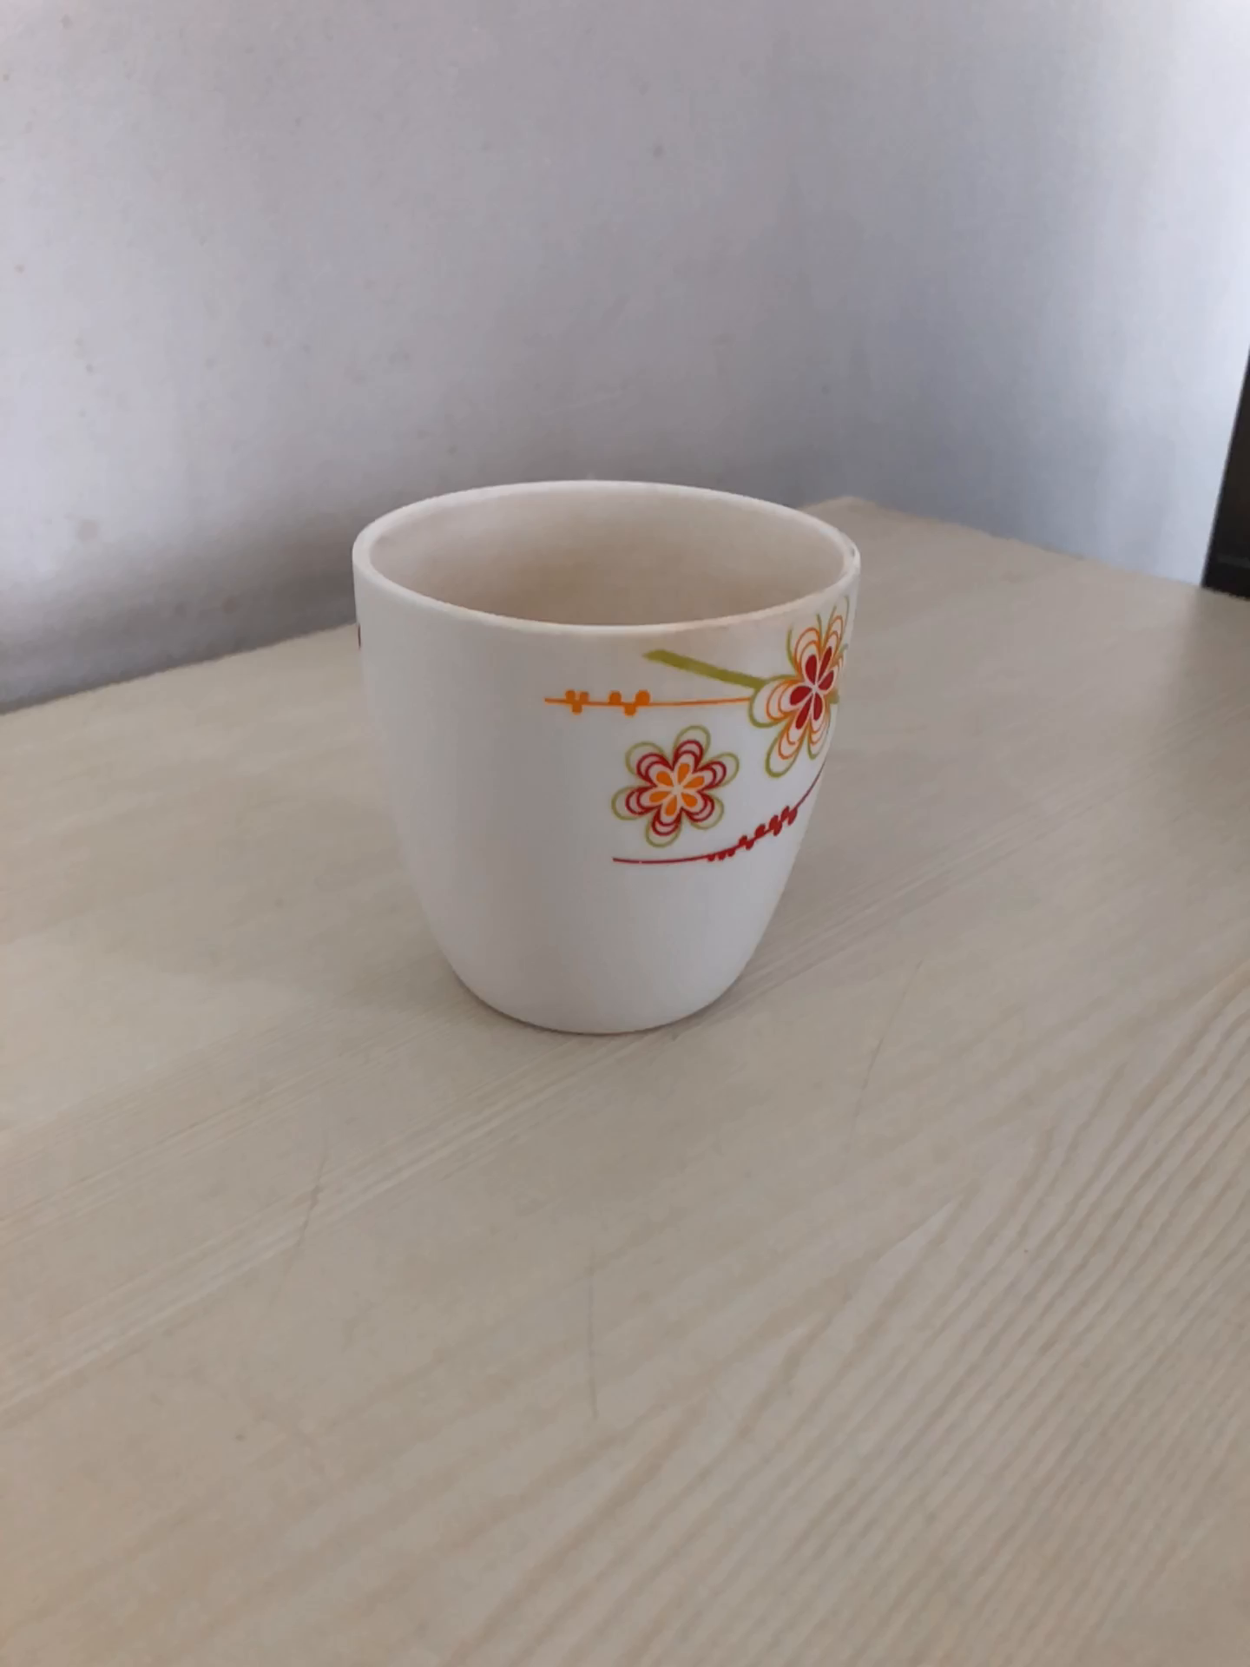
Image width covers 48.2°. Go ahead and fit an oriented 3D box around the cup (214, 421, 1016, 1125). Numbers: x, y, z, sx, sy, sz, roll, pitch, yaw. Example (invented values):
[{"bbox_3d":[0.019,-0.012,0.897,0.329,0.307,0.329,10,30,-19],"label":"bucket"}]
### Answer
[{"bbox_3d":[0.003,-0.021,0.233,0.070,0.070,0.111,22,33,34],"label":"cup"}]
